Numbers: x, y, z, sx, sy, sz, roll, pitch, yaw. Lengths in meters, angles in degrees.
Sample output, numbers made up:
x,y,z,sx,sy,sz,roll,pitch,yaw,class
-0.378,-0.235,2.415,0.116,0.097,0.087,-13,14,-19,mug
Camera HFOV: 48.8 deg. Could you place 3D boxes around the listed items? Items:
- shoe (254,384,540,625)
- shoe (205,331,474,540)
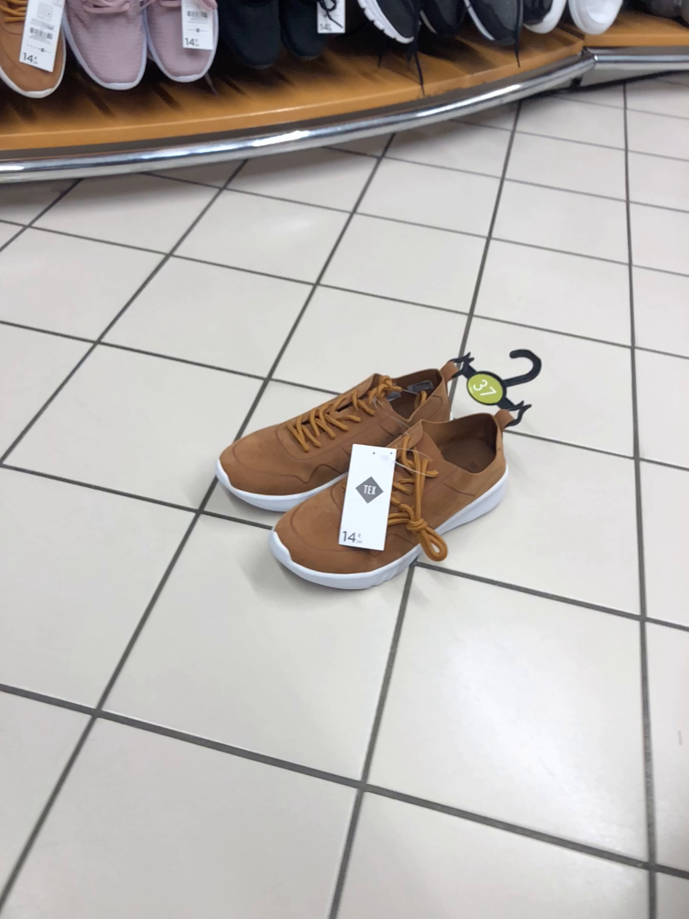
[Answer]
x,y,z,sx,sy,sz,roll,pitch,yaw,class
0.045,0.033,0.664,0.231,0.099,0.090,-23,52,-26,shoe
-0.005,-0.027,0.698,0.221,0.099,0.090,-19,50,-23,shoe
